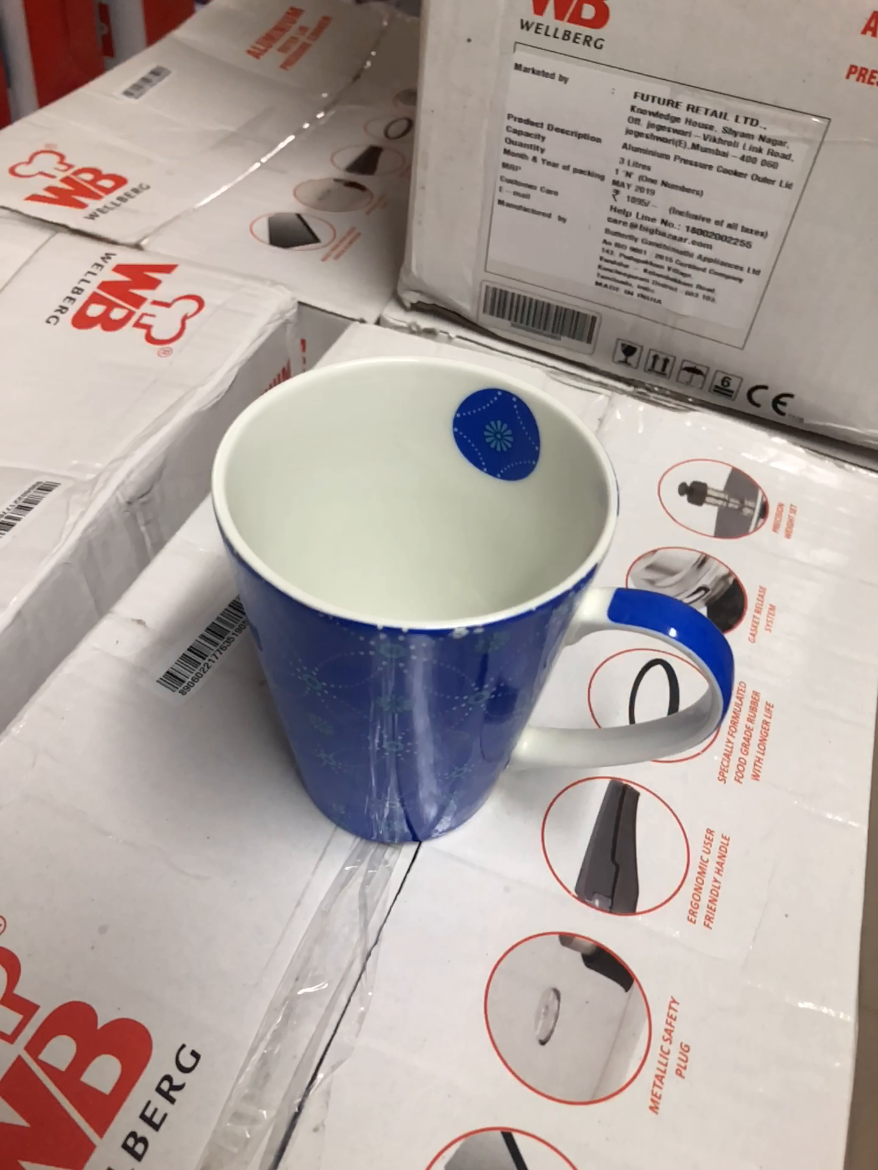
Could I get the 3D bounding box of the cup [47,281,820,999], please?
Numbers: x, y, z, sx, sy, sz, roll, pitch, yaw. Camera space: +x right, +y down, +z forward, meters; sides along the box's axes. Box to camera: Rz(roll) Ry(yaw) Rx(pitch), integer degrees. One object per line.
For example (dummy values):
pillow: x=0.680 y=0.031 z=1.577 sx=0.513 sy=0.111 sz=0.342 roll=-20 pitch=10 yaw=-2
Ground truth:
cup: x=0.001 y=0.011 z=0.209 sx=0.120 sy=0.089 sz=0.080 roll=20 pitch=48 yaw=8
